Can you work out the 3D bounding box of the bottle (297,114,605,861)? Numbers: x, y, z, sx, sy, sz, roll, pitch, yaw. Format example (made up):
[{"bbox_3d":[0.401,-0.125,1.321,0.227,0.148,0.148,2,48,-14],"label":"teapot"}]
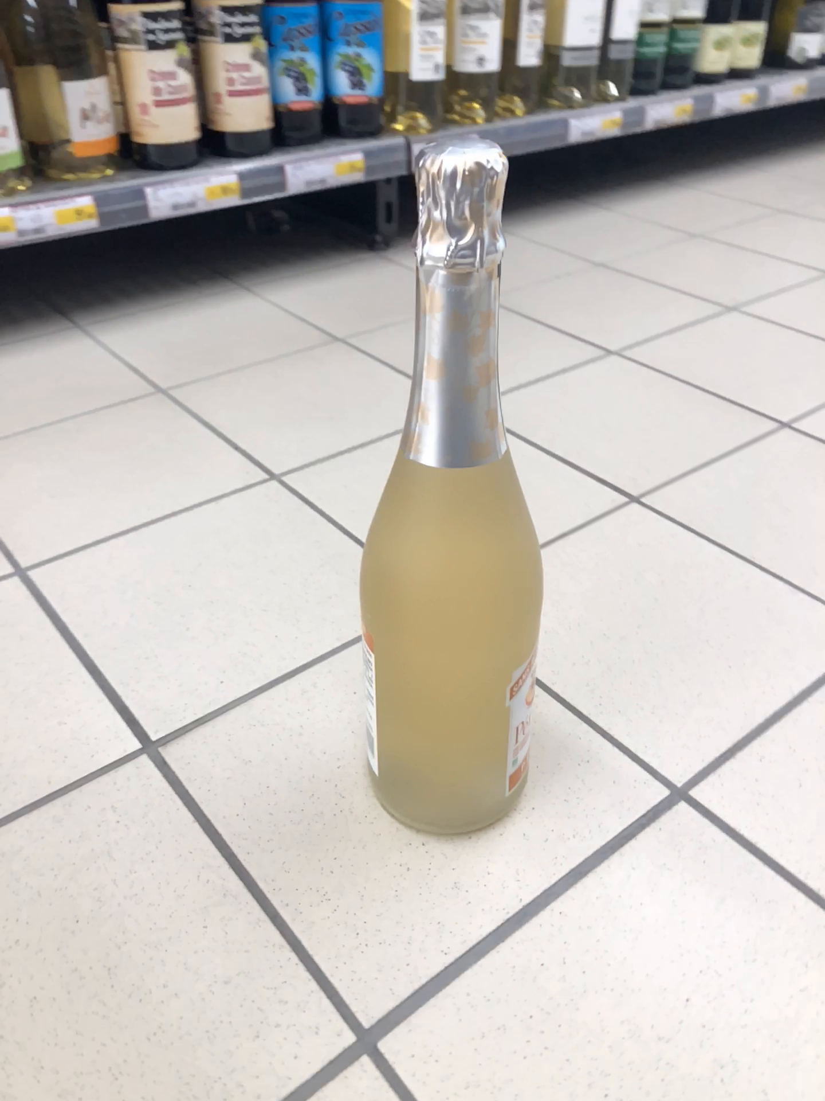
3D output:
[{"bbox_3d":[0.017,-0.010,0.392,0.090,0.308,0.091,0,34,0],"label":"bottle"}]
